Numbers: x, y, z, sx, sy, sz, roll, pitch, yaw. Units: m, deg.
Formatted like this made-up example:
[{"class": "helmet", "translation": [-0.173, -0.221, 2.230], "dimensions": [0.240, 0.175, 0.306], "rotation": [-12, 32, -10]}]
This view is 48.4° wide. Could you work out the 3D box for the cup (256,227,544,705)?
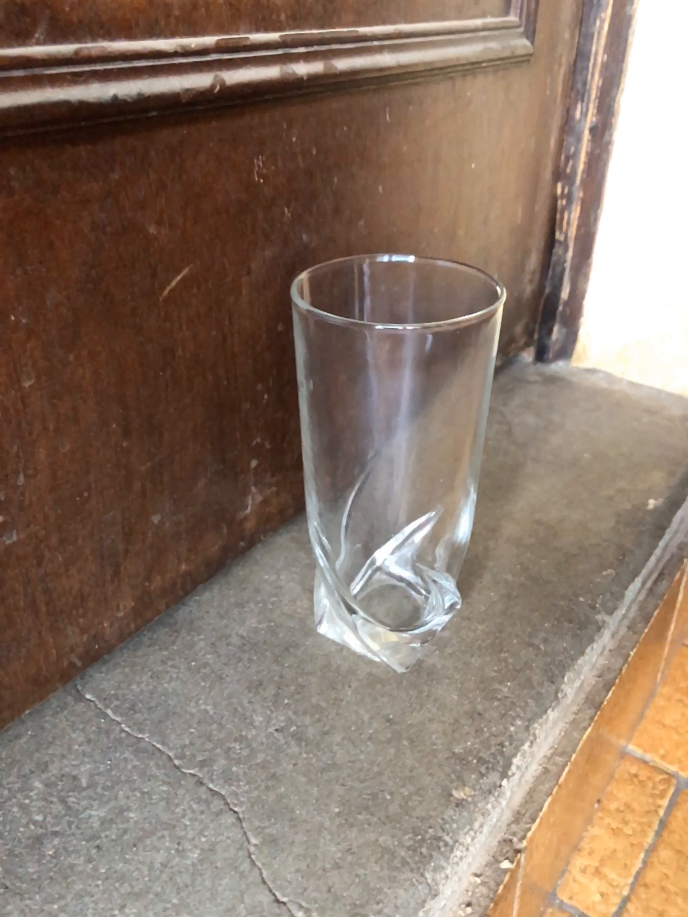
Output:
[{"class": "cup", "translation": [0.019, 0.001, 0.268], "dimensions": [0.060, 0.139, 0.070], "rotation": [19, 36, 28]}]
